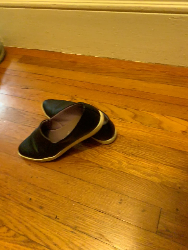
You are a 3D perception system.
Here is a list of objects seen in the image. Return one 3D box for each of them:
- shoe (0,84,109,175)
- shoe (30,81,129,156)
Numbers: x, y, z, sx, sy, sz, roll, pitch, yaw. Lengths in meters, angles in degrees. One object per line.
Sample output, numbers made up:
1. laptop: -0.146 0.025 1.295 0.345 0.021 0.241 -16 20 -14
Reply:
1. shoe: -0.101 0.019 0.471 0.250 0.080 0.101 -27 49 16
2. shoe: -0.043 -0.028 0.545 0.261 0.080 0.100 25 60 26
